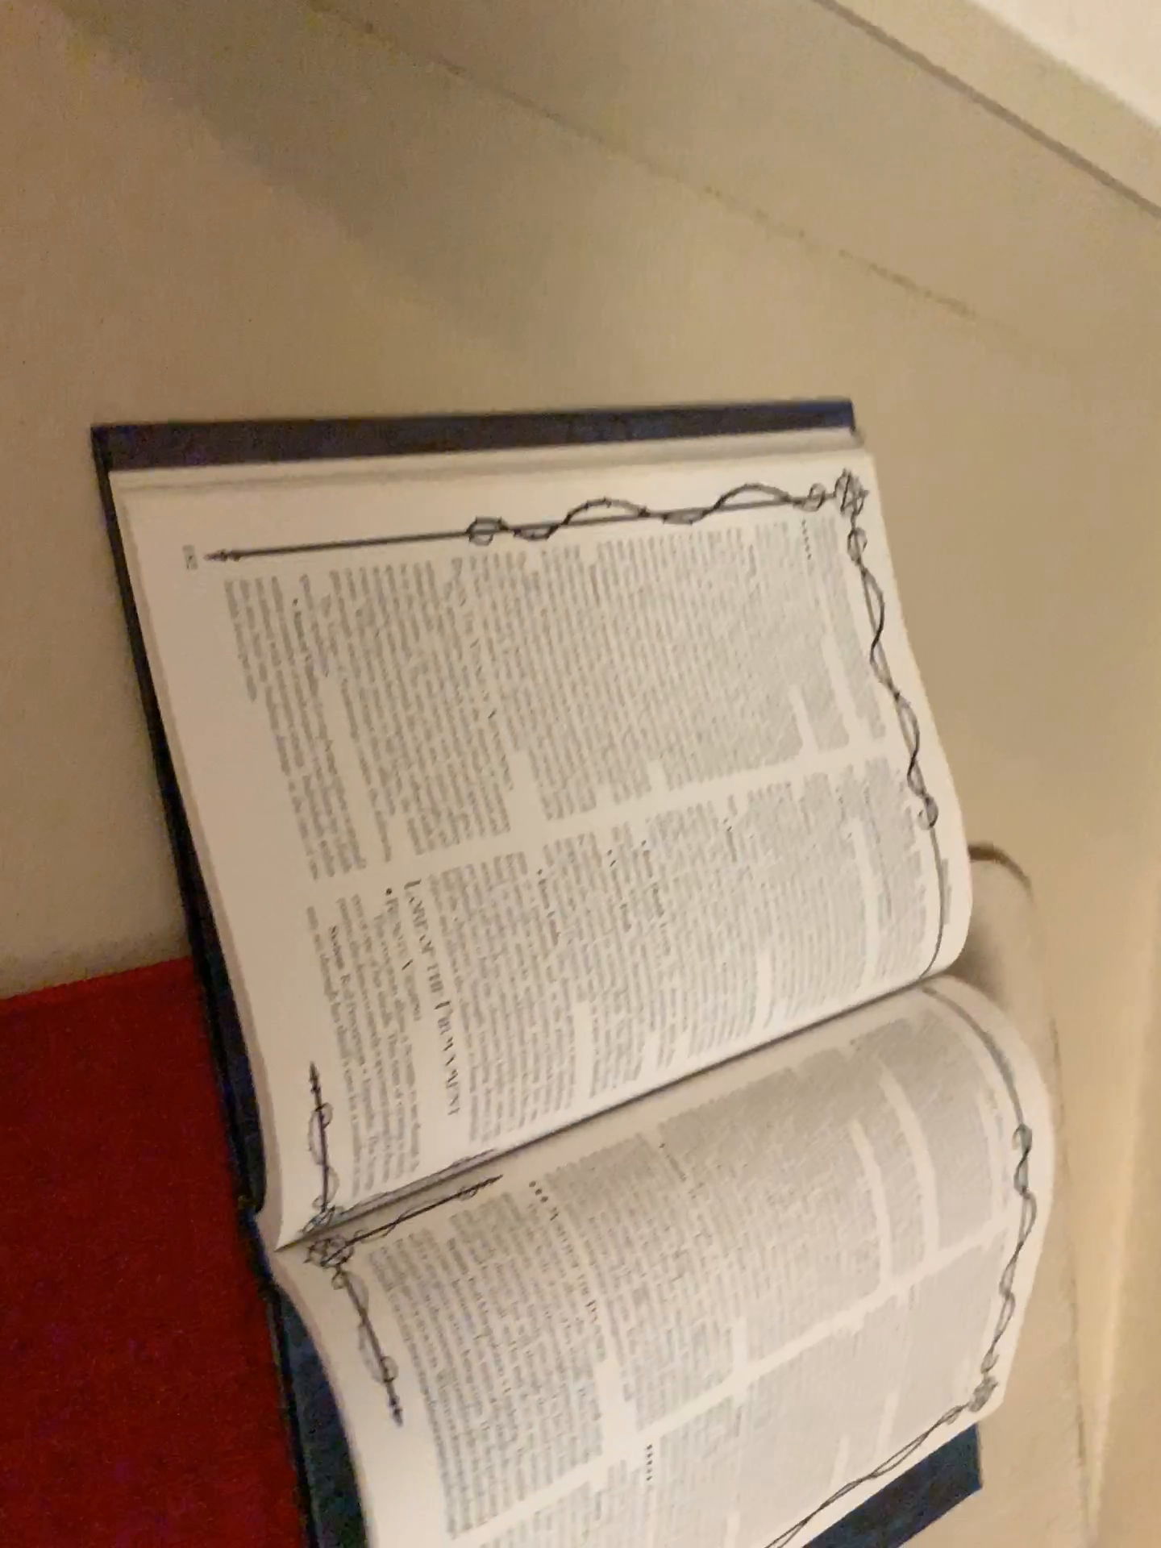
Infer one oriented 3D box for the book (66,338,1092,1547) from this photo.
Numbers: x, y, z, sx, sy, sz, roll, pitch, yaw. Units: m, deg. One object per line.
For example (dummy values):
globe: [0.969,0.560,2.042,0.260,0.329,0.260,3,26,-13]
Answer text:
book: [0.035,0.098,0.429,0.290,0.060,0.450,-15,100,-33]
